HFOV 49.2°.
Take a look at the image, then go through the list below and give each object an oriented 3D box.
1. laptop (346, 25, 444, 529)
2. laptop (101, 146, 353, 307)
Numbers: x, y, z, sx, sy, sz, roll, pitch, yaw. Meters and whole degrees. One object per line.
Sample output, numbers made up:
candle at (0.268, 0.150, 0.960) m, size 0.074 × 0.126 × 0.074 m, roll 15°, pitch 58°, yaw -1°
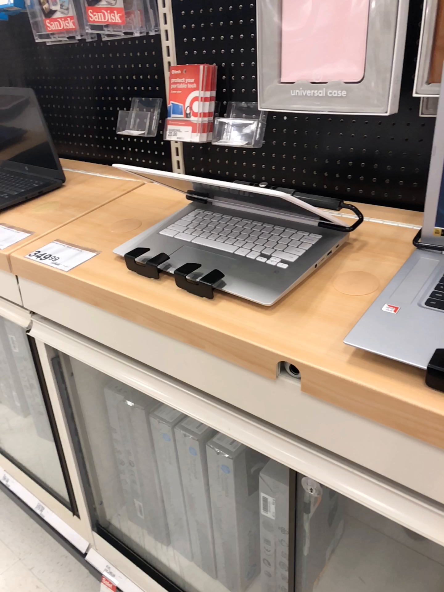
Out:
laptop at (0.359, -0.078, 0.452) m, size 0.389 × 0.244 × 0.273 m, roll 16°, pitch 37°, yaw 34°
laptop at (0.001, -0.132, 0.764) m, size 0.331 × 0.100 × 0.216 m, roll 20°, pitch 43°, yaw 37°
